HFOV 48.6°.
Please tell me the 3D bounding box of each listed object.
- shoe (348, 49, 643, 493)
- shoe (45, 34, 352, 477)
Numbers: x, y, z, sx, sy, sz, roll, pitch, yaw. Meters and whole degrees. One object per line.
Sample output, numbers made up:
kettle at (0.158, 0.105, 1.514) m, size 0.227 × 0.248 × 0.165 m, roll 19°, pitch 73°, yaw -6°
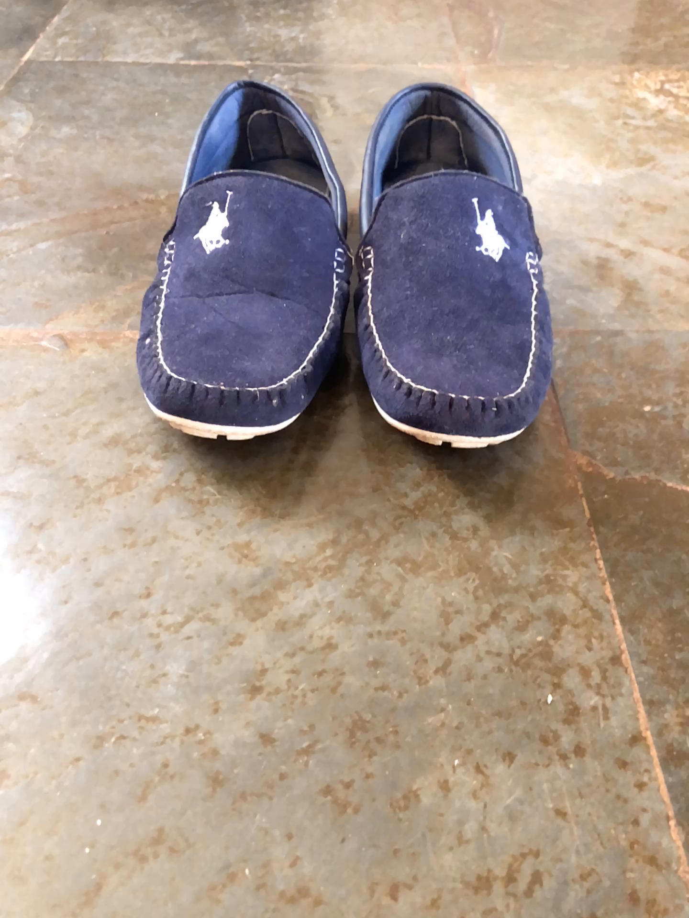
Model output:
shoe at (0.055, -0.112, 0.384) m, size 0.100 × 0.089 × 0.262 m, roll 1°, pitch 46°, yaw 0°
shoe at (-0.049, -0.119, 0.381) m, size 0.100 × 0.089 × 0.262 m, roll 1°, pitch 46°, yaw 0°
